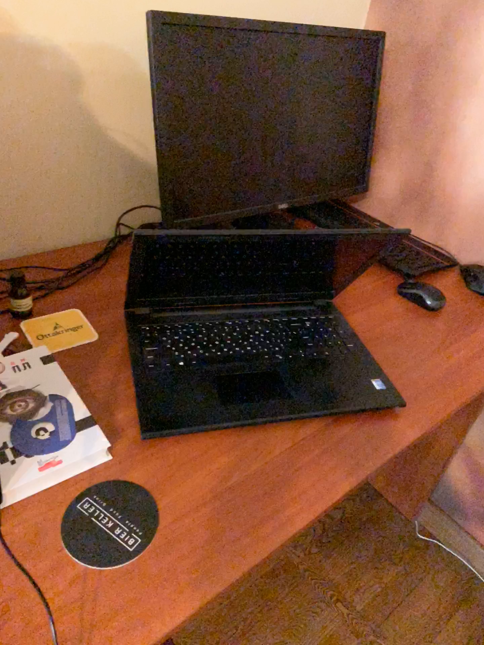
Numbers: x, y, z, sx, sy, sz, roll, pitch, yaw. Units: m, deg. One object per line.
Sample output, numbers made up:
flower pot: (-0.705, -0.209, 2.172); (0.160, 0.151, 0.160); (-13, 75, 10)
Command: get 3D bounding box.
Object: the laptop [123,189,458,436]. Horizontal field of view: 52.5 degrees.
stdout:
laptop: (0.037, -0.031, 0.686); (0.373, 0.202, 0.247); (-3, 39, -18)
